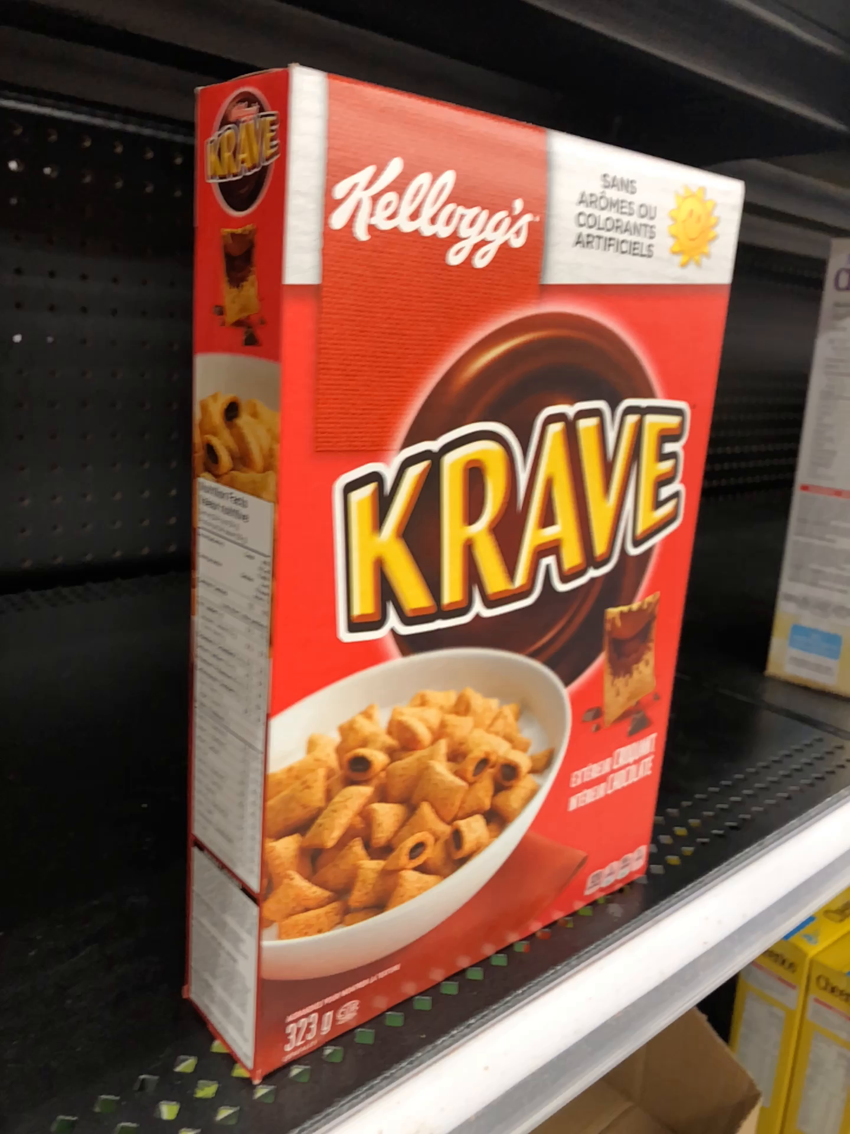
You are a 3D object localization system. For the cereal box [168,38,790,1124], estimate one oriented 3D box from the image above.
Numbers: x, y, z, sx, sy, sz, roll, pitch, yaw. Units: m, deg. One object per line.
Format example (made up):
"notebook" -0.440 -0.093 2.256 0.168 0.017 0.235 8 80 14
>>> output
"cereal box" 0.024 0.005 0.320 0.210 0.279 0.050 -8 18 -40
